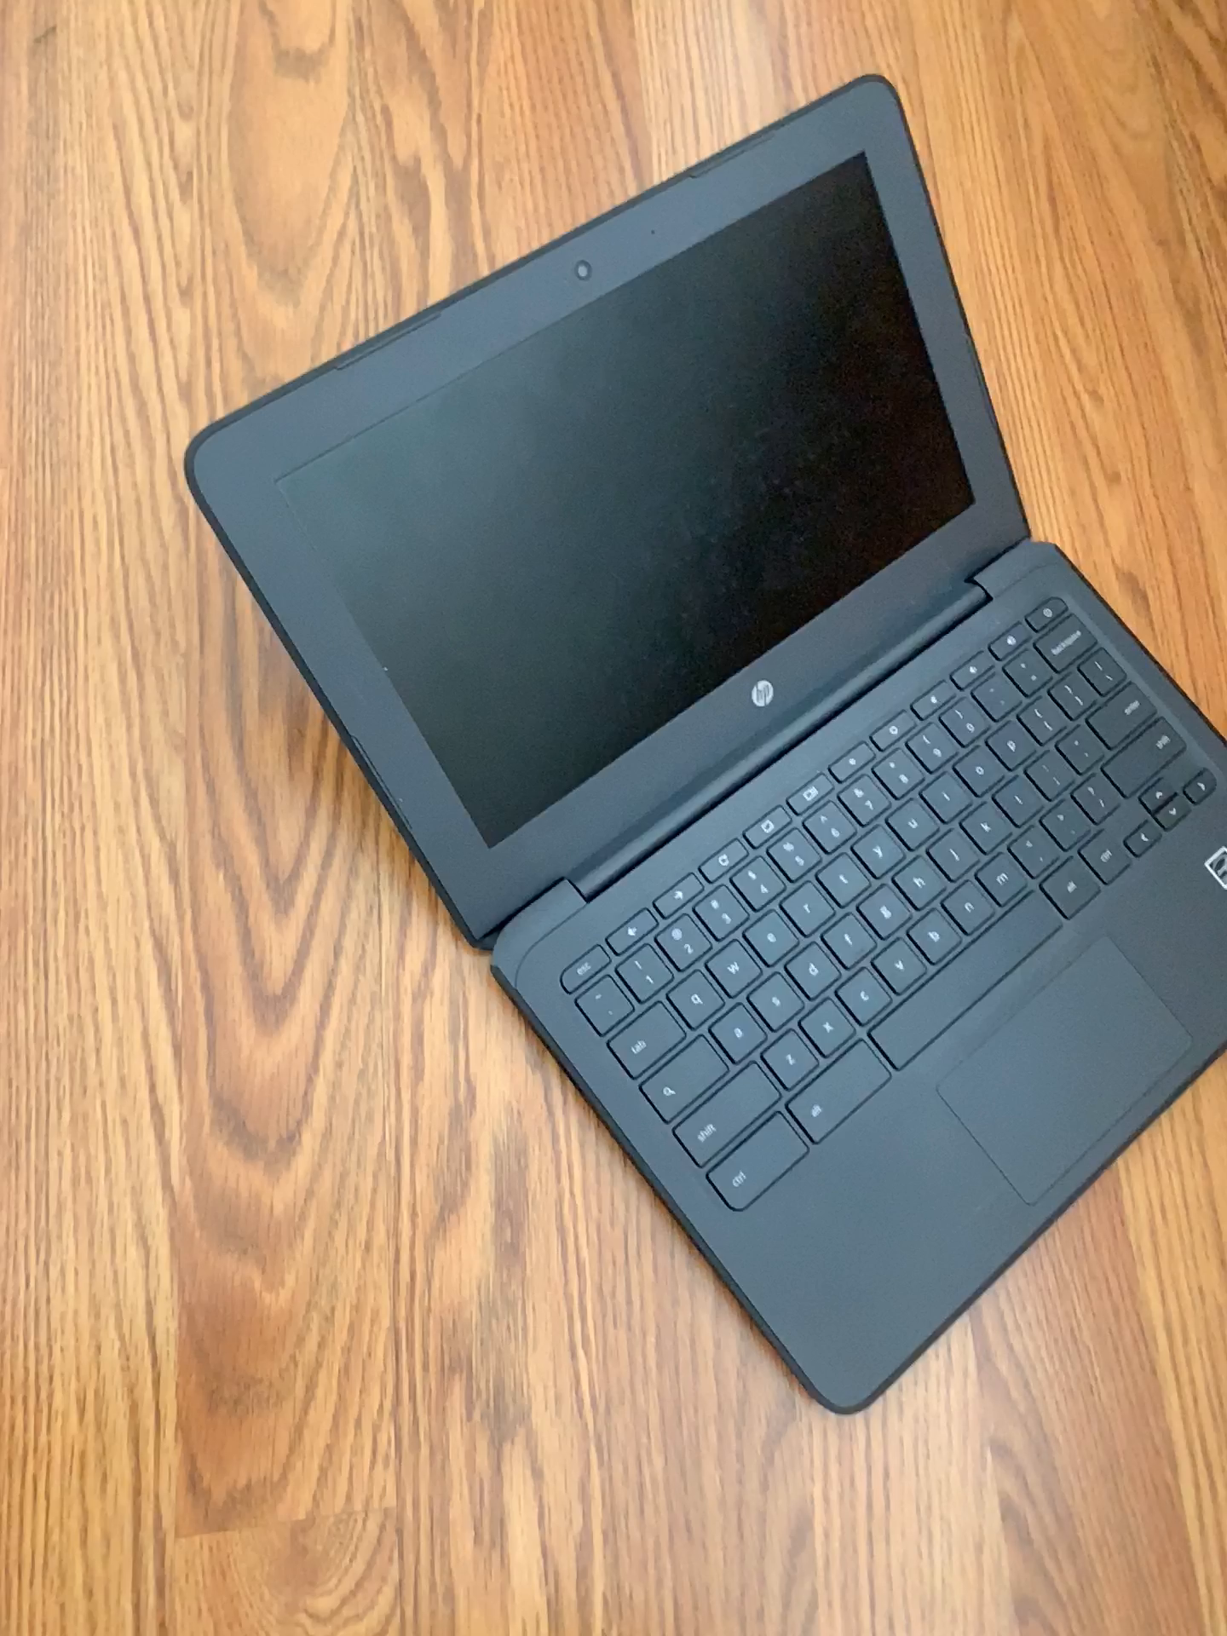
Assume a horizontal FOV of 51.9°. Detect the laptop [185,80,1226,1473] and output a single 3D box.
[{"bbox_3d":[0.091,-0.035,0.451,0.299,0.110,0.360,-36,82,-18],"label":"laptop"}]
